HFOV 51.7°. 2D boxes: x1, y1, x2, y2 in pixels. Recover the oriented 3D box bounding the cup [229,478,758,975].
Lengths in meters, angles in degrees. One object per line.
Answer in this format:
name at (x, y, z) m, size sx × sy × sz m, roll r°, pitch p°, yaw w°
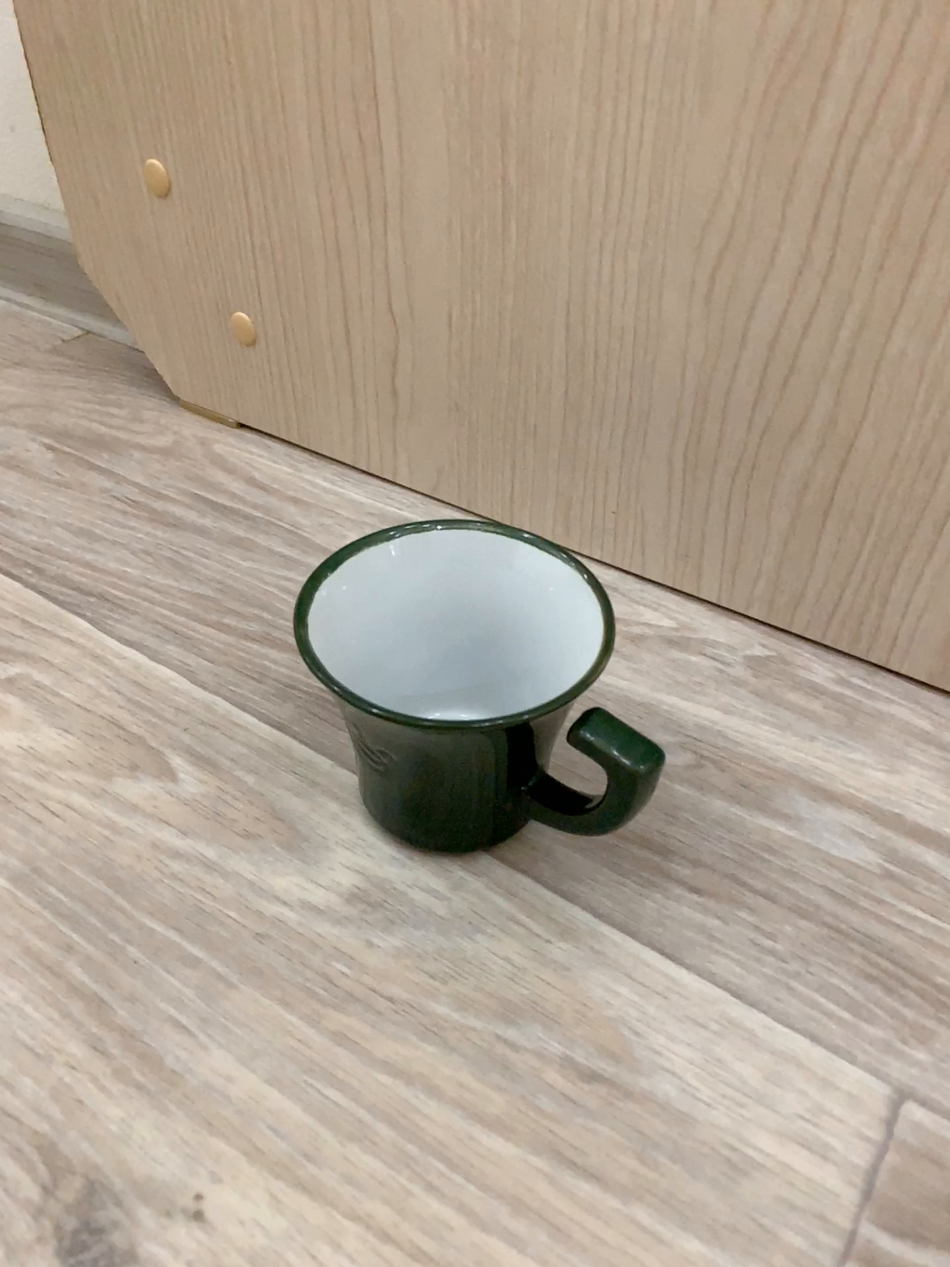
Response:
cup at (0.004, 0.018, 0.260) m, size 0.107 × 0.061 × 0.074 m, roll 26°, pitch 46°, yaw 27°
